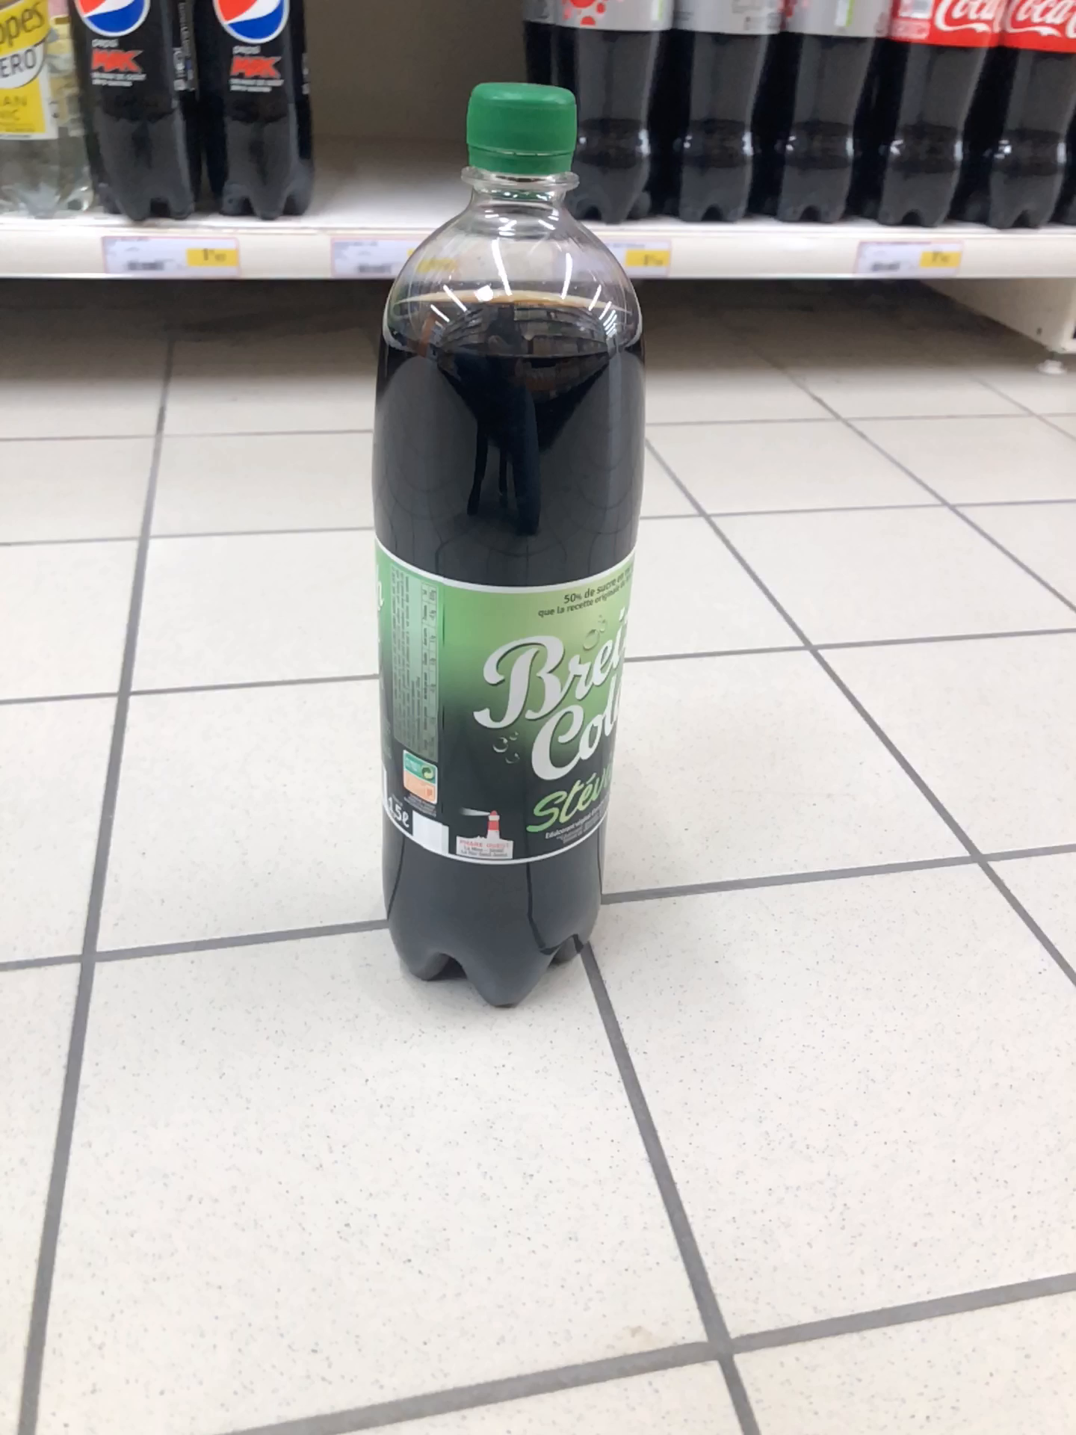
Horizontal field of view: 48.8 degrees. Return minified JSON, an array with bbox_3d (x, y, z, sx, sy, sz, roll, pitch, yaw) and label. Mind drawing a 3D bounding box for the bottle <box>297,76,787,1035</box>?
[{"bbox_3d":[-0.004,-0.049,0.413,0.100,0.298,0.101,3,32,-2],"label":"bottle"}]
